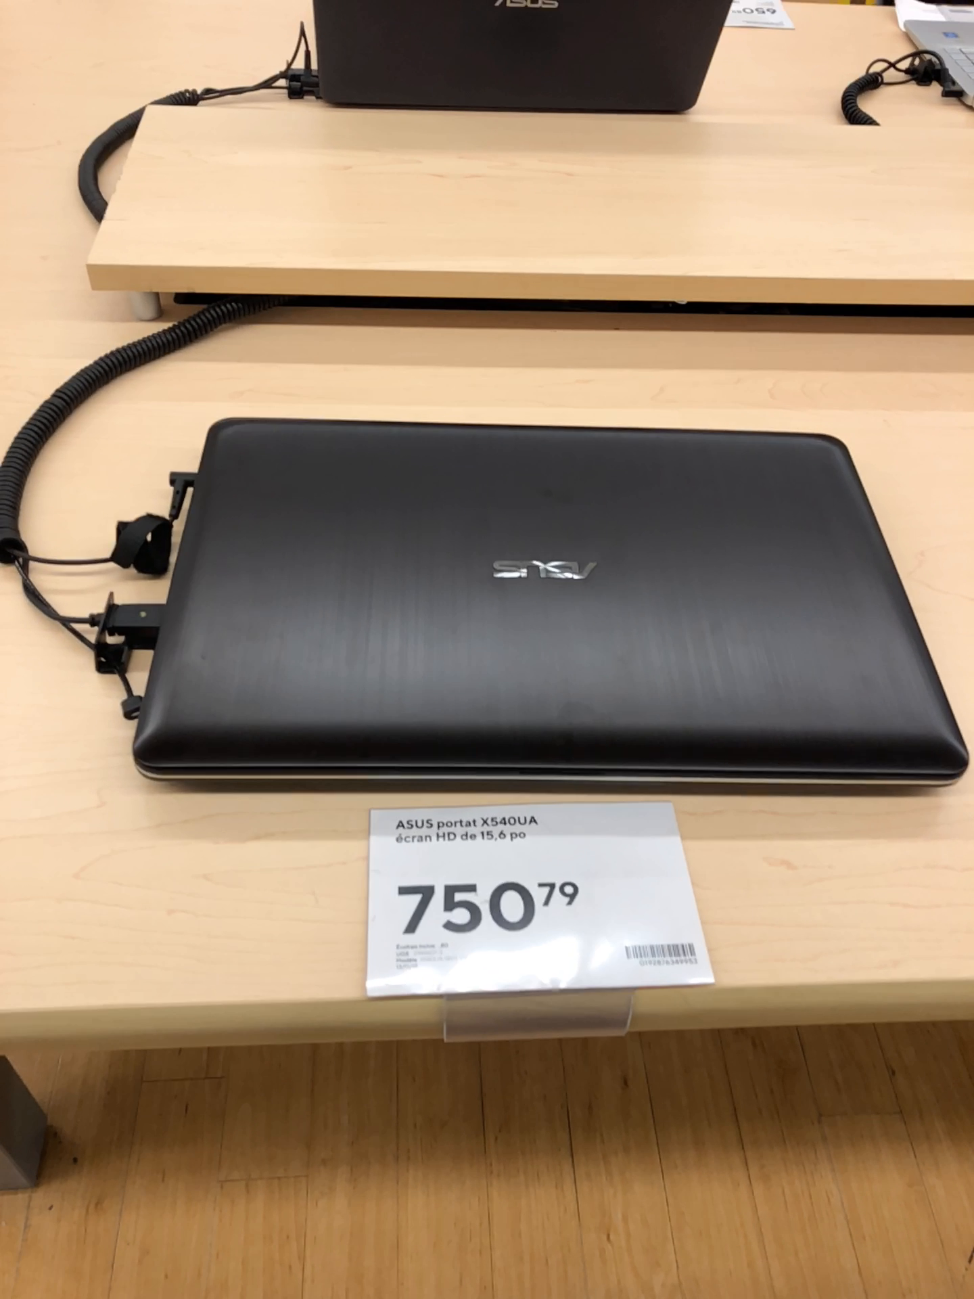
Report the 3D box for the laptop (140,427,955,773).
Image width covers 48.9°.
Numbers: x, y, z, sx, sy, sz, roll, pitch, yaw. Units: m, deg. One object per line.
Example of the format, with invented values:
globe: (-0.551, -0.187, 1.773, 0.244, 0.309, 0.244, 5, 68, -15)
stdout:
laptop: (0.030, -0.035, 0.558, 0.369, 0.010, 0.228, 1, 50, -3)
